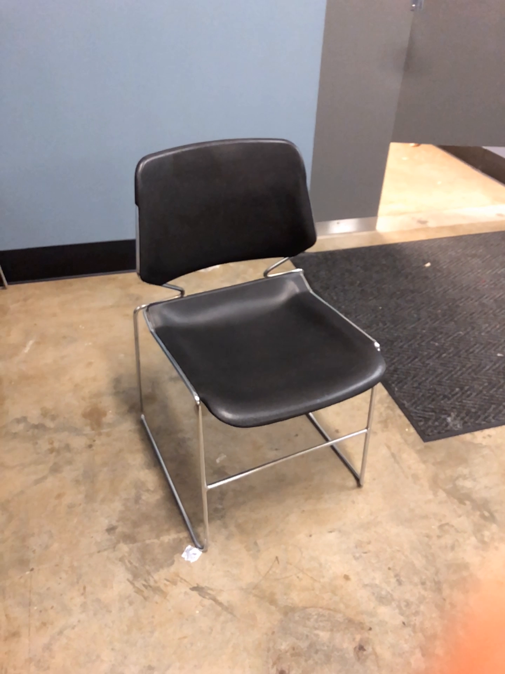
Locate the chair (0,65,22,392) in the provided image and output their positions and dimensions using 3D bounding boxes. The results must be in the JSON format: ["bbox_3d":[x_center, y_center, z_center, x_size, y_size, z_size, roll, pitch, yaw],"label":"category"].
[{"bbox_3d":[-1.134,-0.354,1.746,0.595,0.799,0.552,-8,37,-14],"label":"chair"}]

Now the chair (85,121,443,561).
[{"bbox_3d":[-0.019,-0.015,1.356,0.532,0.799,0.546,-15,39,-22],"label":"chair"}]
